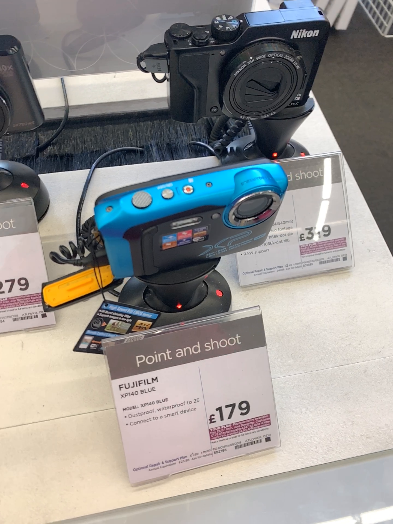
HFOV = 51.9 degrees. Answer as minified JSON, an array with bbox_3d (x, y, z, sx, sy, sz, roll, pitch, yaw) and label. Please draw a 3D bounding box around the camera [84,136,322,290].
[{"bbox_3d":[0.003,-0.025,0.218,0.110,0.060,0.030,-14,62,-11],"label":"camera"}]
